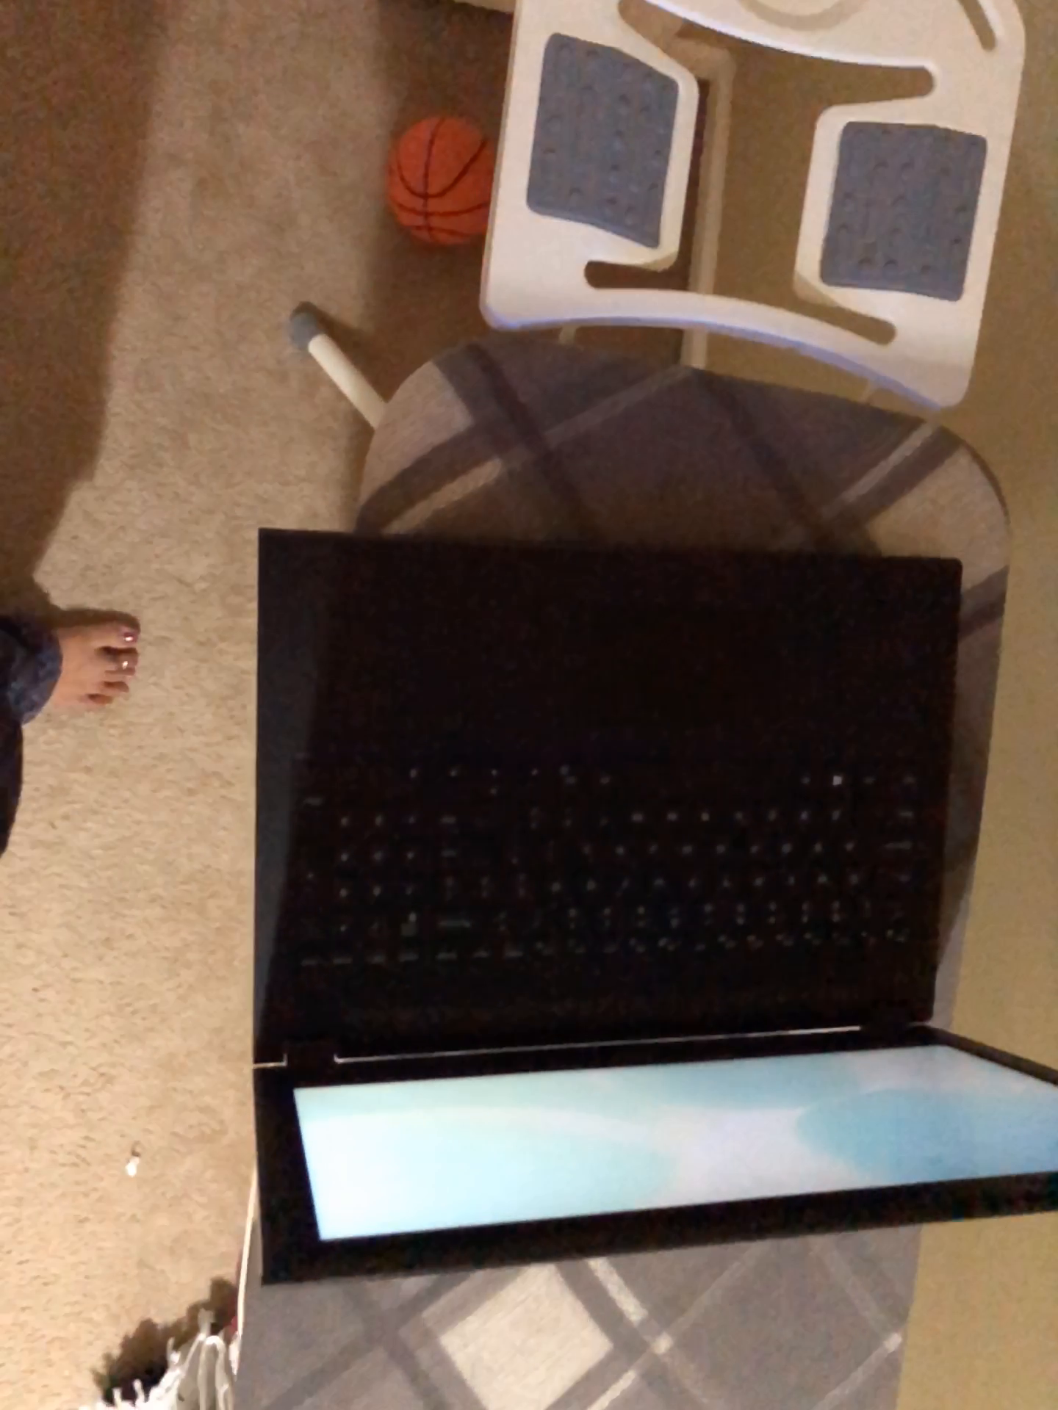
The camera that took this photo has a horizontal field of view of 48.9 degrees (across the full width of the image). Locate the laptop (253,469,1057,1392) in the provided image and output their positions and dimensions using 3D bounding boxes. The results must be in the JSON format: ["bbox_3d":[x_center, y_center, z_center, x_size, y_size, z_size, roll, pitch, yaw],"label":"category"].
[{"bbox_3d":[0.075,0.056,0.462,0.352,0.232,0.247,1,94,-14],"label":"laptop"}]
